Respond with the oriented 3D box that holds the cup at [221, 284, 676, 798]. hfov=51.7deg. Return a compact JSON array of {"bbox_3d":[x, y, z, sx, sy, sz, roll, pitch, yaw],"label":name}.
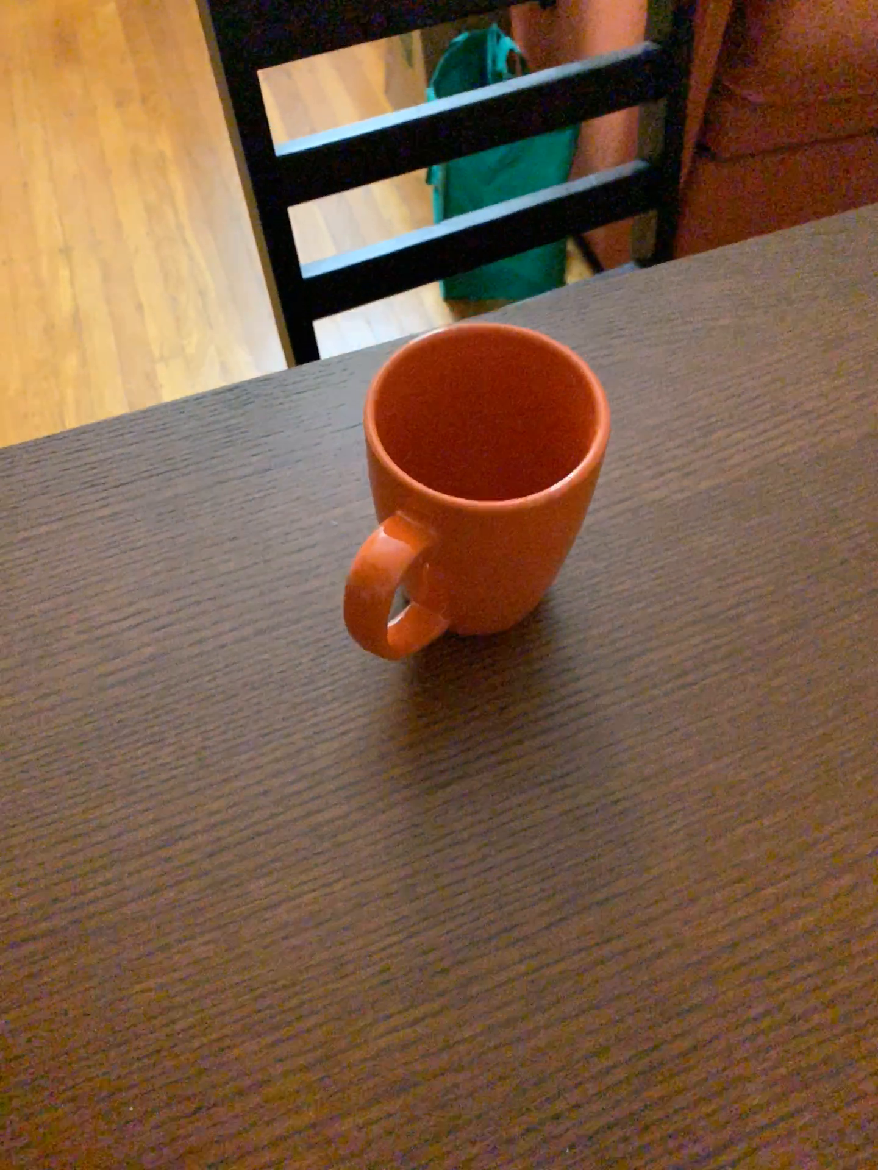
[{"bbox_3d":[0.007,-0.016,0.346,0.100,0.110,0.130,26,62,14],"label":"cup"}]
